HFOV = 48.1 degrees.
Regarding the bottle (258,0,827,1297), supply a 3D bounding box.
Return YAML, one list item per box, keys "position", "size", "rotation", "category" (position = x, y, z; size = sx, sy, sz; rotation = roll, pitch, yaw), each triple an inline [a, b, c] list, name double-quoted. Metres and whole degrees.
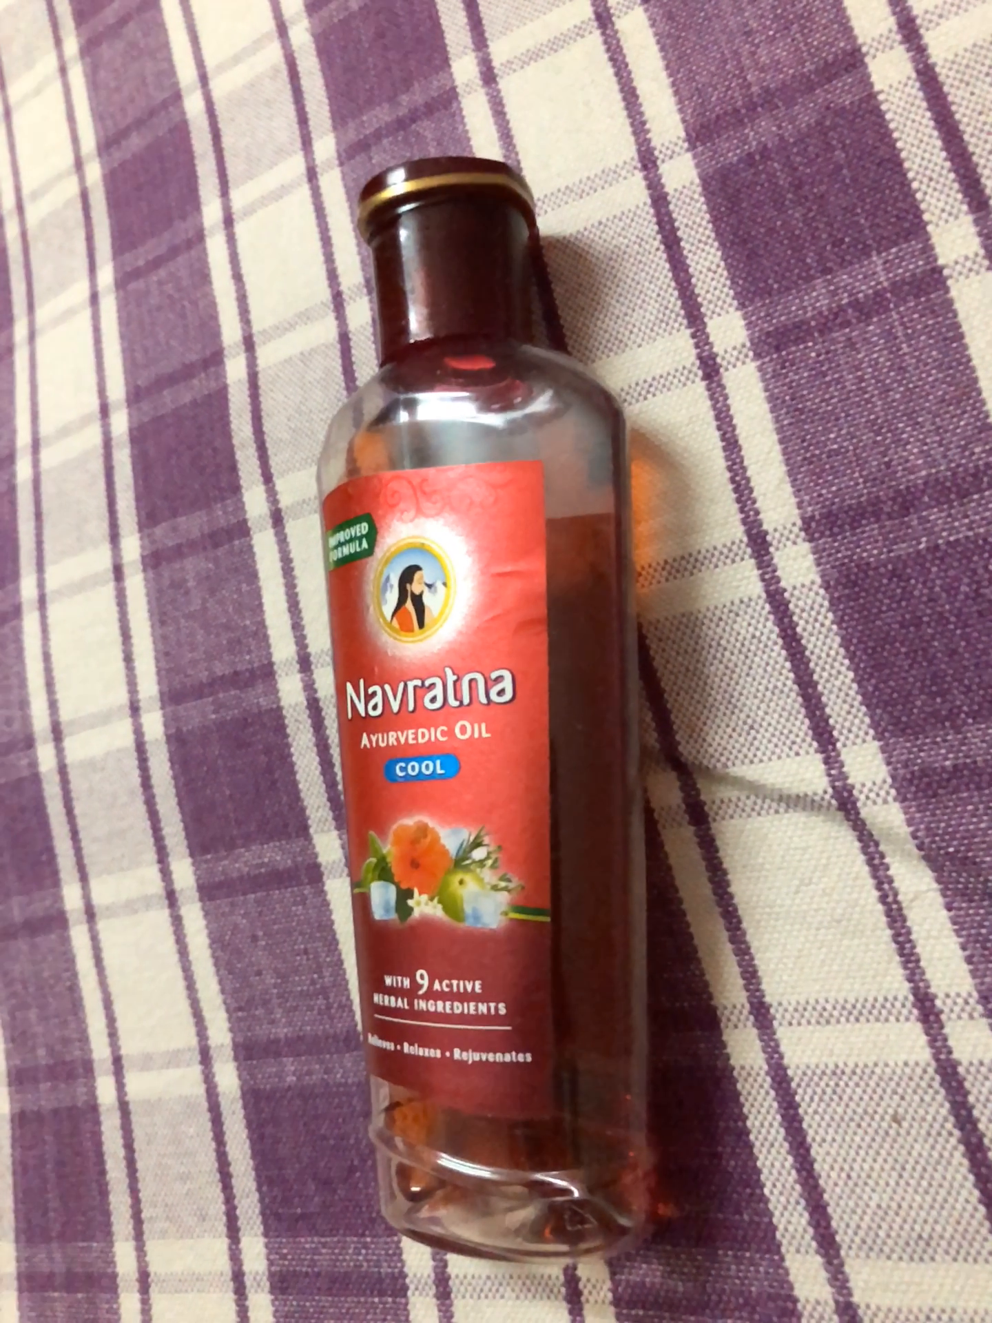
- position: [0.004, -0.008, 0.201]
  size: [0.070, 0.050, 0.200]
  rotation: [-11, 78, 32]
  category: "bottle"
